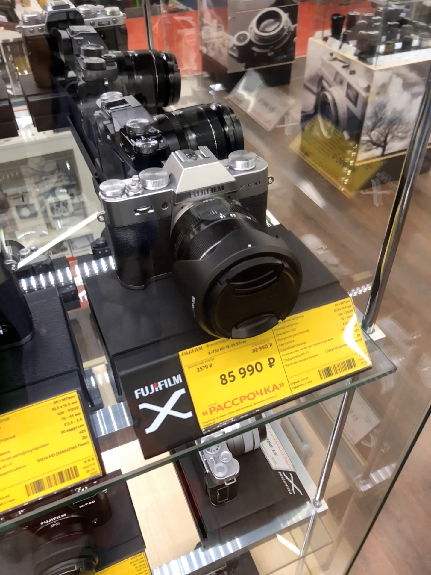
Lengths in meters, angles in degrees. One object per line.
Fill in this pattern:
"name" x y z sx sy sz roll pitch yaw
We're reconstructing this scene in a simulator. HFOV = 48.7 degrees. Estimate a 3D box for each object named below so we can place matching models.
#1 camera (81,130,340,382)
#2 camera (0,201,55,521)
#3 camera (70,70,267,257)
"camera" -0.009 -0.029 0.319 0.120 0.088 0.121 -16 44 -17
"camera" -0.174 0.031 0.259 0.135 0.088 0.104 -16 44 -16
"camera" -0.045 -0.119 0.430 0.123 0.088 0.145 -17 45 -18
